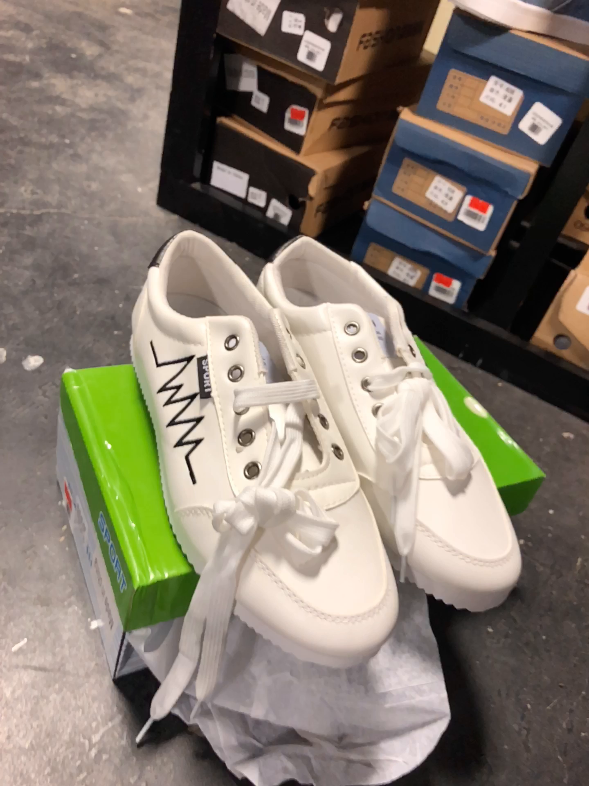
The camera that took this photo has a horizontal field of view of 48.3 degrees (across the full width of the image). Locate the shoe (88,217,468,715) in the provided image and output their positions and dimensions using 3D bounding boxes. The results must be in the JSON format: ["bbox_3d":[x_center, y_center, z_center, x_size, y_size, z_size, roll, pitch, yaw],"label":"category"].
[{"bbox_3d":[-0.035,0.009,0.365,0.090,0.079,0.282,-11,46,-25],"label":"shoe"}]

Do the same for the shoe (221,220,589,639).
[{"bbox_3d":[0.049,-0.003,0.420,0.090,0.079,0.282,-11,46,-25],"label":"shoe"}]
